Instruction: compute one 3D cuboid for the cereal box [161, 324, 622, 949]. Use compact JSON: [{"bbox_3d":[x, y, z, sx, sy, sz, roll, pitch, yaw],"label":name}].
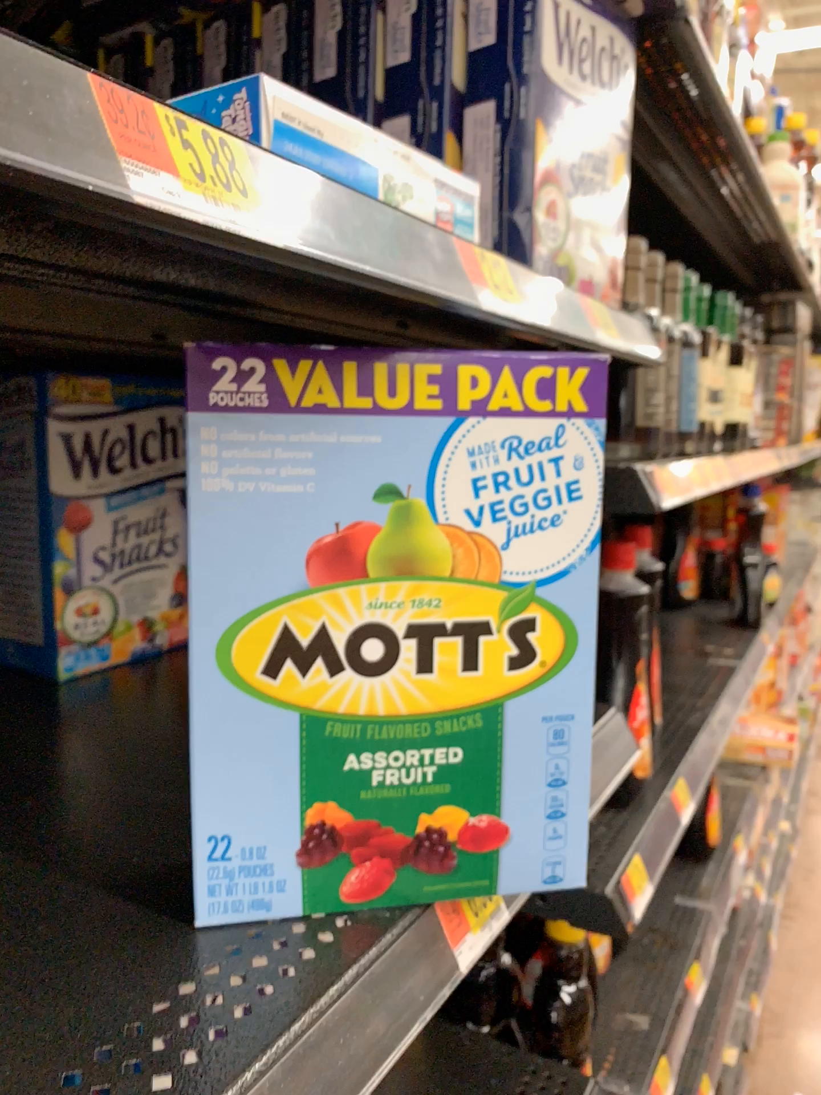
[{"bbox_3d":[-0.012,0.034,0.371,0.180,0.240,0.060,0,8,-13],"label":"cereal box"}]
